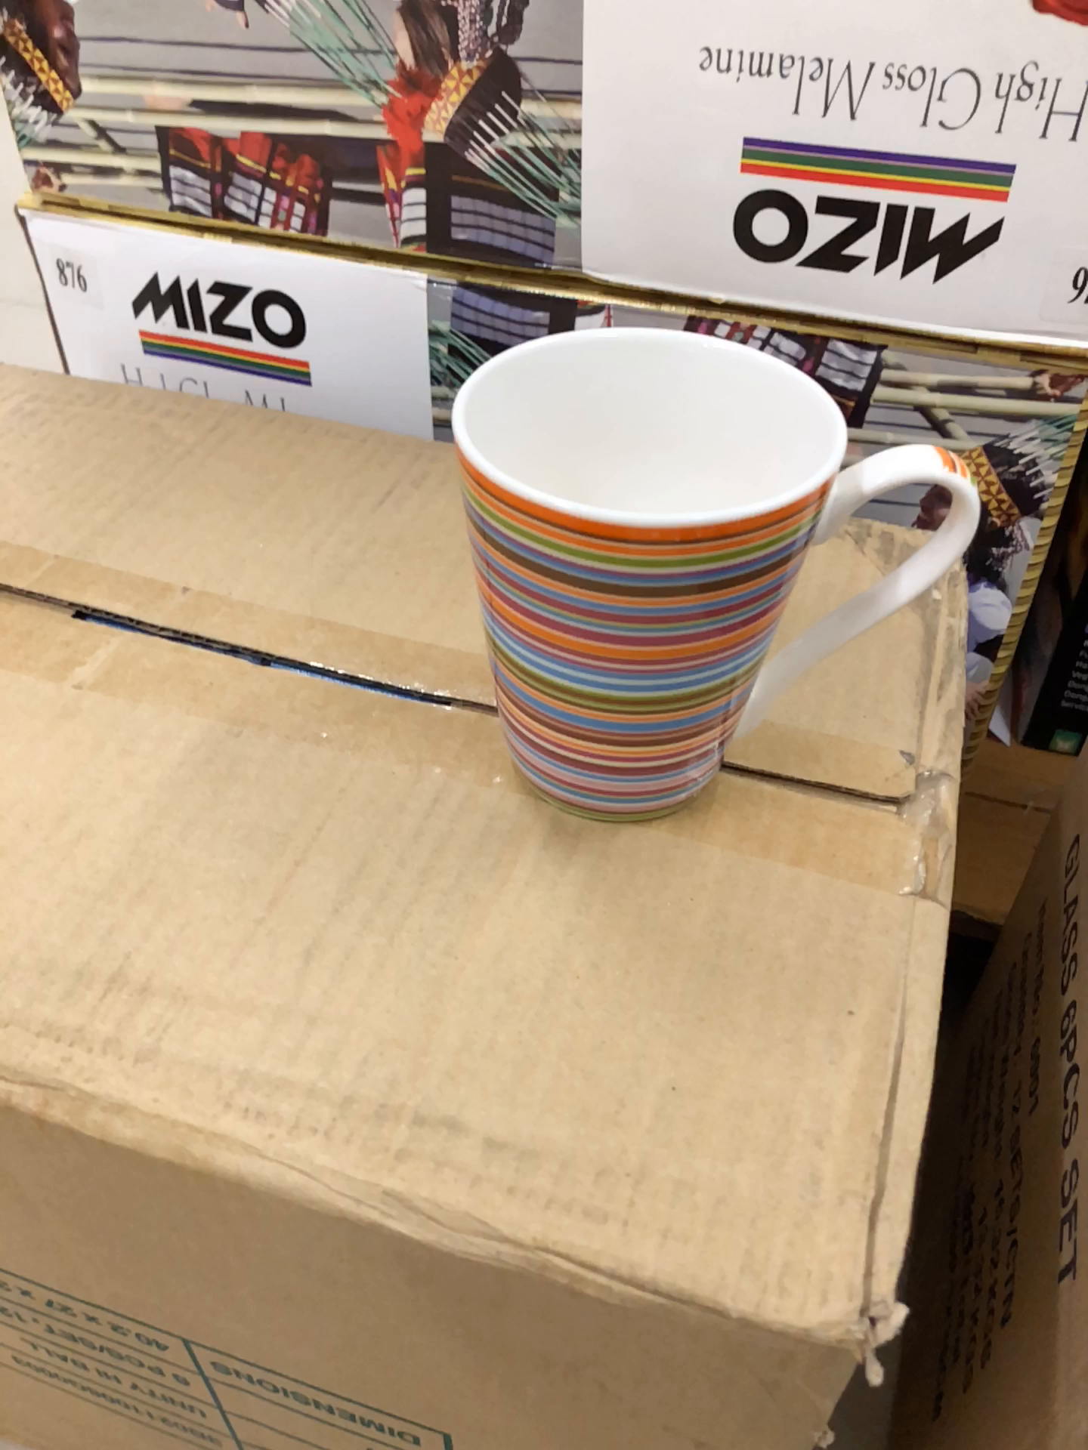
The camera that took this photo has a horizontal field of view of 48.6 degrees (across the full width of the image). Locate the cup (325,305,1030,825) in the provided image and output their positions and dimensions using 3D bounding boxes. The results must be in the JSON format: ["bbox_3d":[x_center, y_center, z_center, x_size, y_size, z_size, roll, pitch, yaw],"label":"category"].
[{"bbox_3d":[0.024,-0.037,0.281,0.130,0.089,0.081,0,43,-1],"label":"cup"}]
